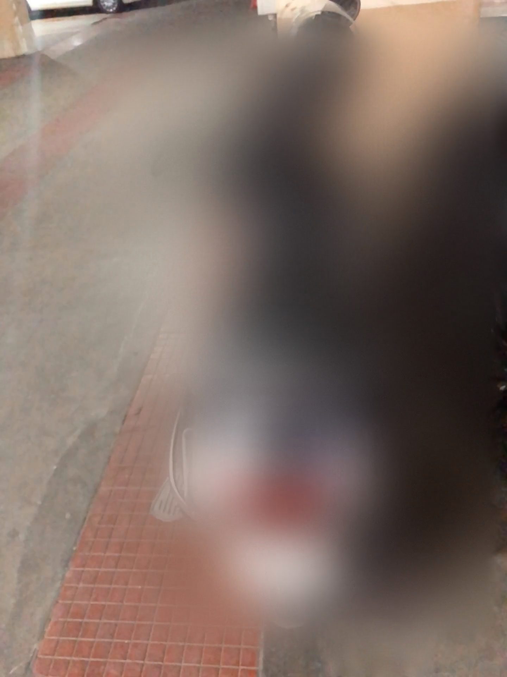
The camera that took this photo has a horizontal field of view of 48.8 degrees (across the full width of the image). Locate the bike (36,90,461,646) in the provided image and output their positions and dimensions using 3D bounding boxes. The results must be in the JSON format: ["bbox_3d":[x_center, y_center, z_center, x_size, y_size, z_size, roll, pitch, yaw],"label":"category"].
[{"bbox_3d":[0.009,-0.074,1.698,0.594,0.988,1.502,-5,34,3],"label":"bike"}]
